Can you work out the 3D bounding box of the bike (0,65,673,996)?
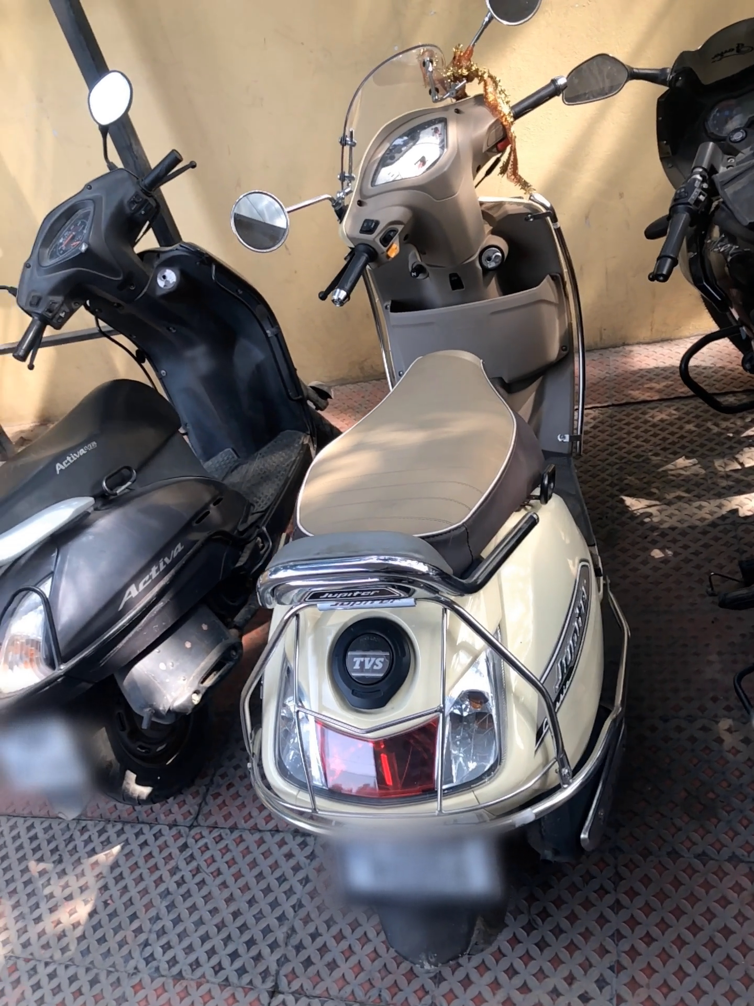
[{"bbox_3d":[0.061,-0.114,1.694,0.644,0.999,1.635,-10,36,14],"label":"bike"}]
